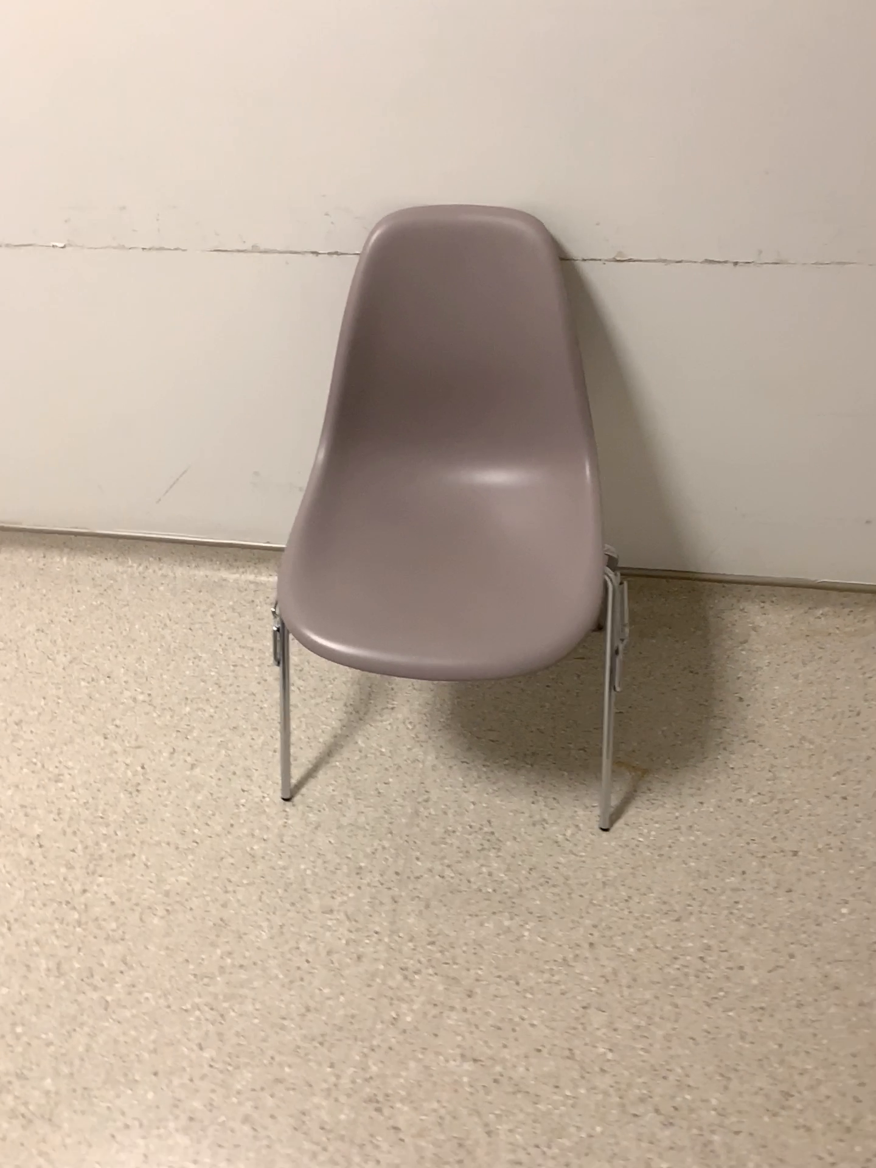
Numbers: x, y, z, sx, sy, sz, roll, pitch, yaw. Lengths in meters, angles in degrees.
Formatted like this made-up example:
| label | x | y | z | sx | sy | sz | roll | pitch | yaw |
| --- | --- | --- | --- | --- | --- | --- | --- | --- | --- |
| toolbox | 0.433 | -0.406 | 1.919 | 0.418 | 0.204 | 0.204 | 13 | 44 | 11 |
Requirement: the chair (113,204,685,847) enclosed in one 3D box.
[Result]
| label | x | y | z | sx | sy | sz | roll | pitch | yaw |
| --- | --- | --- | --- | --- | --- | --- | --- | --- | --- |
| chair | 0.008 | -0.068 | 1.353 | 0.580 | 0.783 | 0.545 | 4 | 47 | 8 |
